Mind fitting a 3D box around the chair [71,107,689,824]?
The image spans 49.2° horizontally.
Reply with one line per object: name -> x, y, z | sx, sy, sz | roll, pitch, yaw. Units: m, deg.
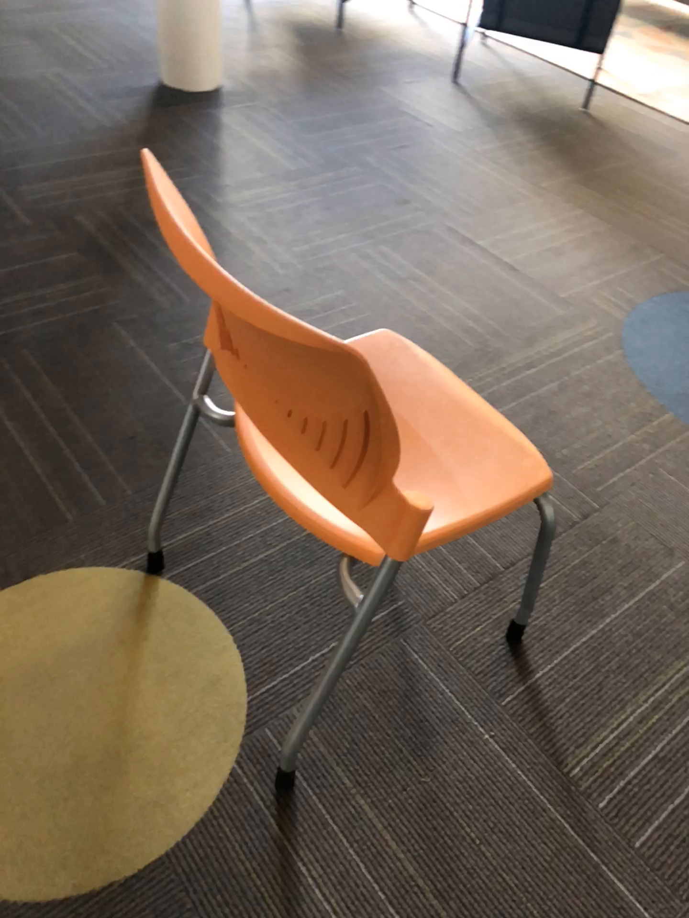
chair -> 0.037, -0.025, 1.187 | 0.611, 0.746, 0.642 | -22, 51, -29
